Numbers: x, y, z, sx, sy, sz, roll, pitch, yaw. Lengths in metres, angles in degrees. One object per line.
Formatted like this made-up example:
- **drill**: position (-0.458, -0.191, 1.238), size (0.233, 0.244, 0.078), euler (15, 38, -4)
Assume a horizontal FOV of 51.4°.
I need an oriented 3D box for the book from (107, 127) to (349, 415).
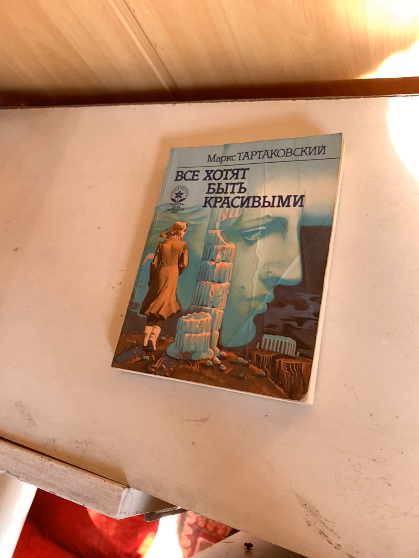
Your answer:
- **book**: position (0.011, -0.014, 0.260), size (0.120, 0.013, 0.160), euler (4, 71, 27)
